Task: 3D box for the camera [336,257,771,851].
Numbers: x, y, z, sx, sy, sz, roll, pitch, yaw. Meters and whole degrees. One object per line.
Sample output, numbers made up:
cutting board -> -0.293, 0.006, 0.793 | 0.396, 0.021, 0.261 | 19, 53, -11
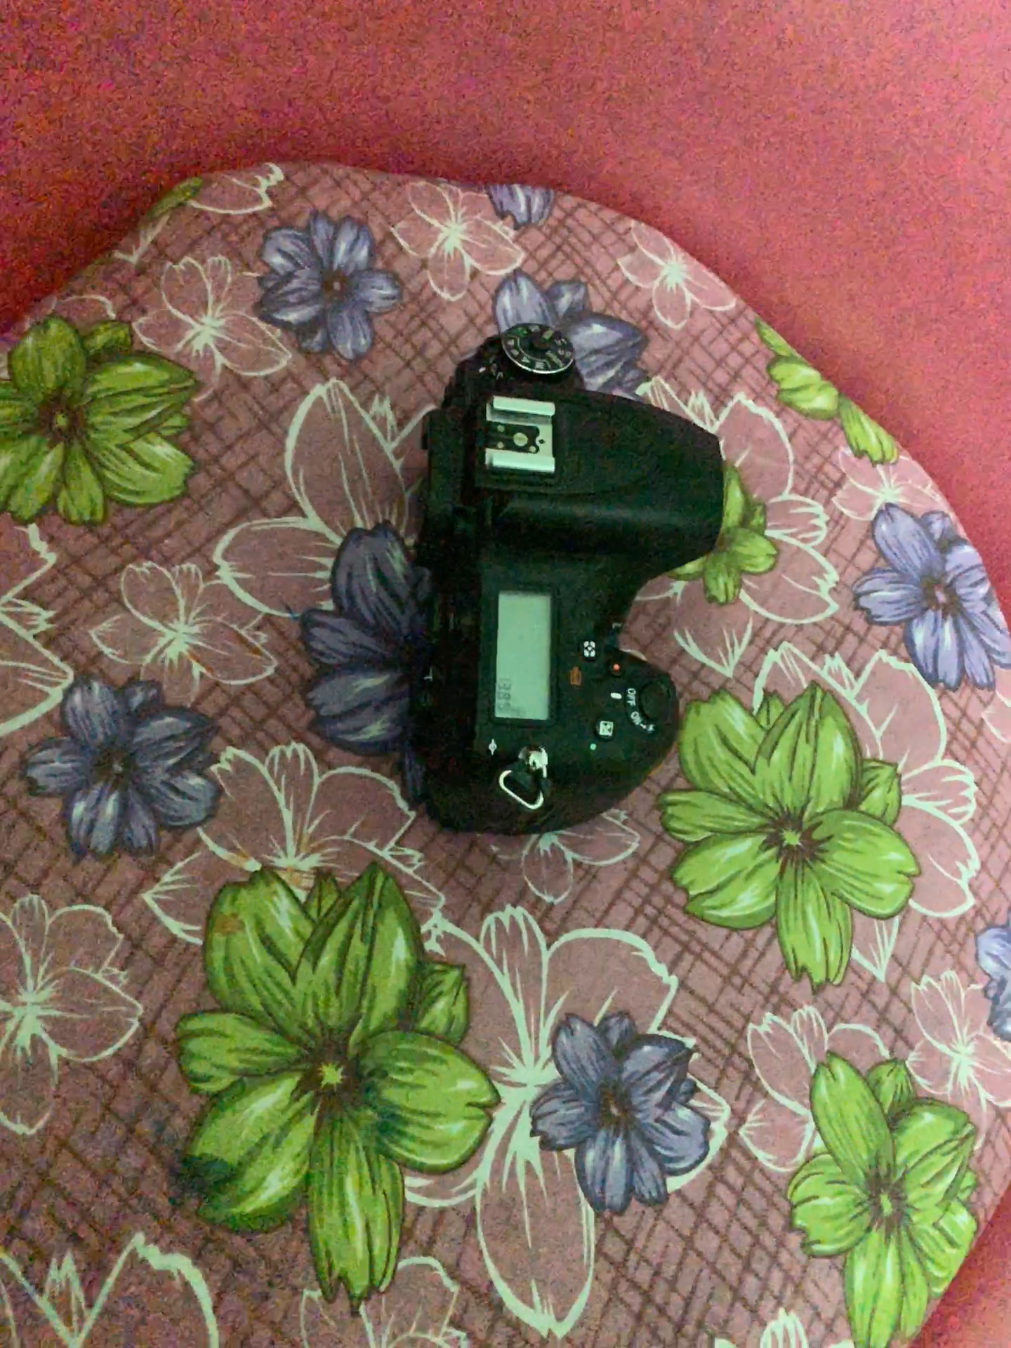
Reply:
camera -> 0.007, -0.025, 0.303 | 0.092, 0.090, 0.140 | 4, 73, -18
